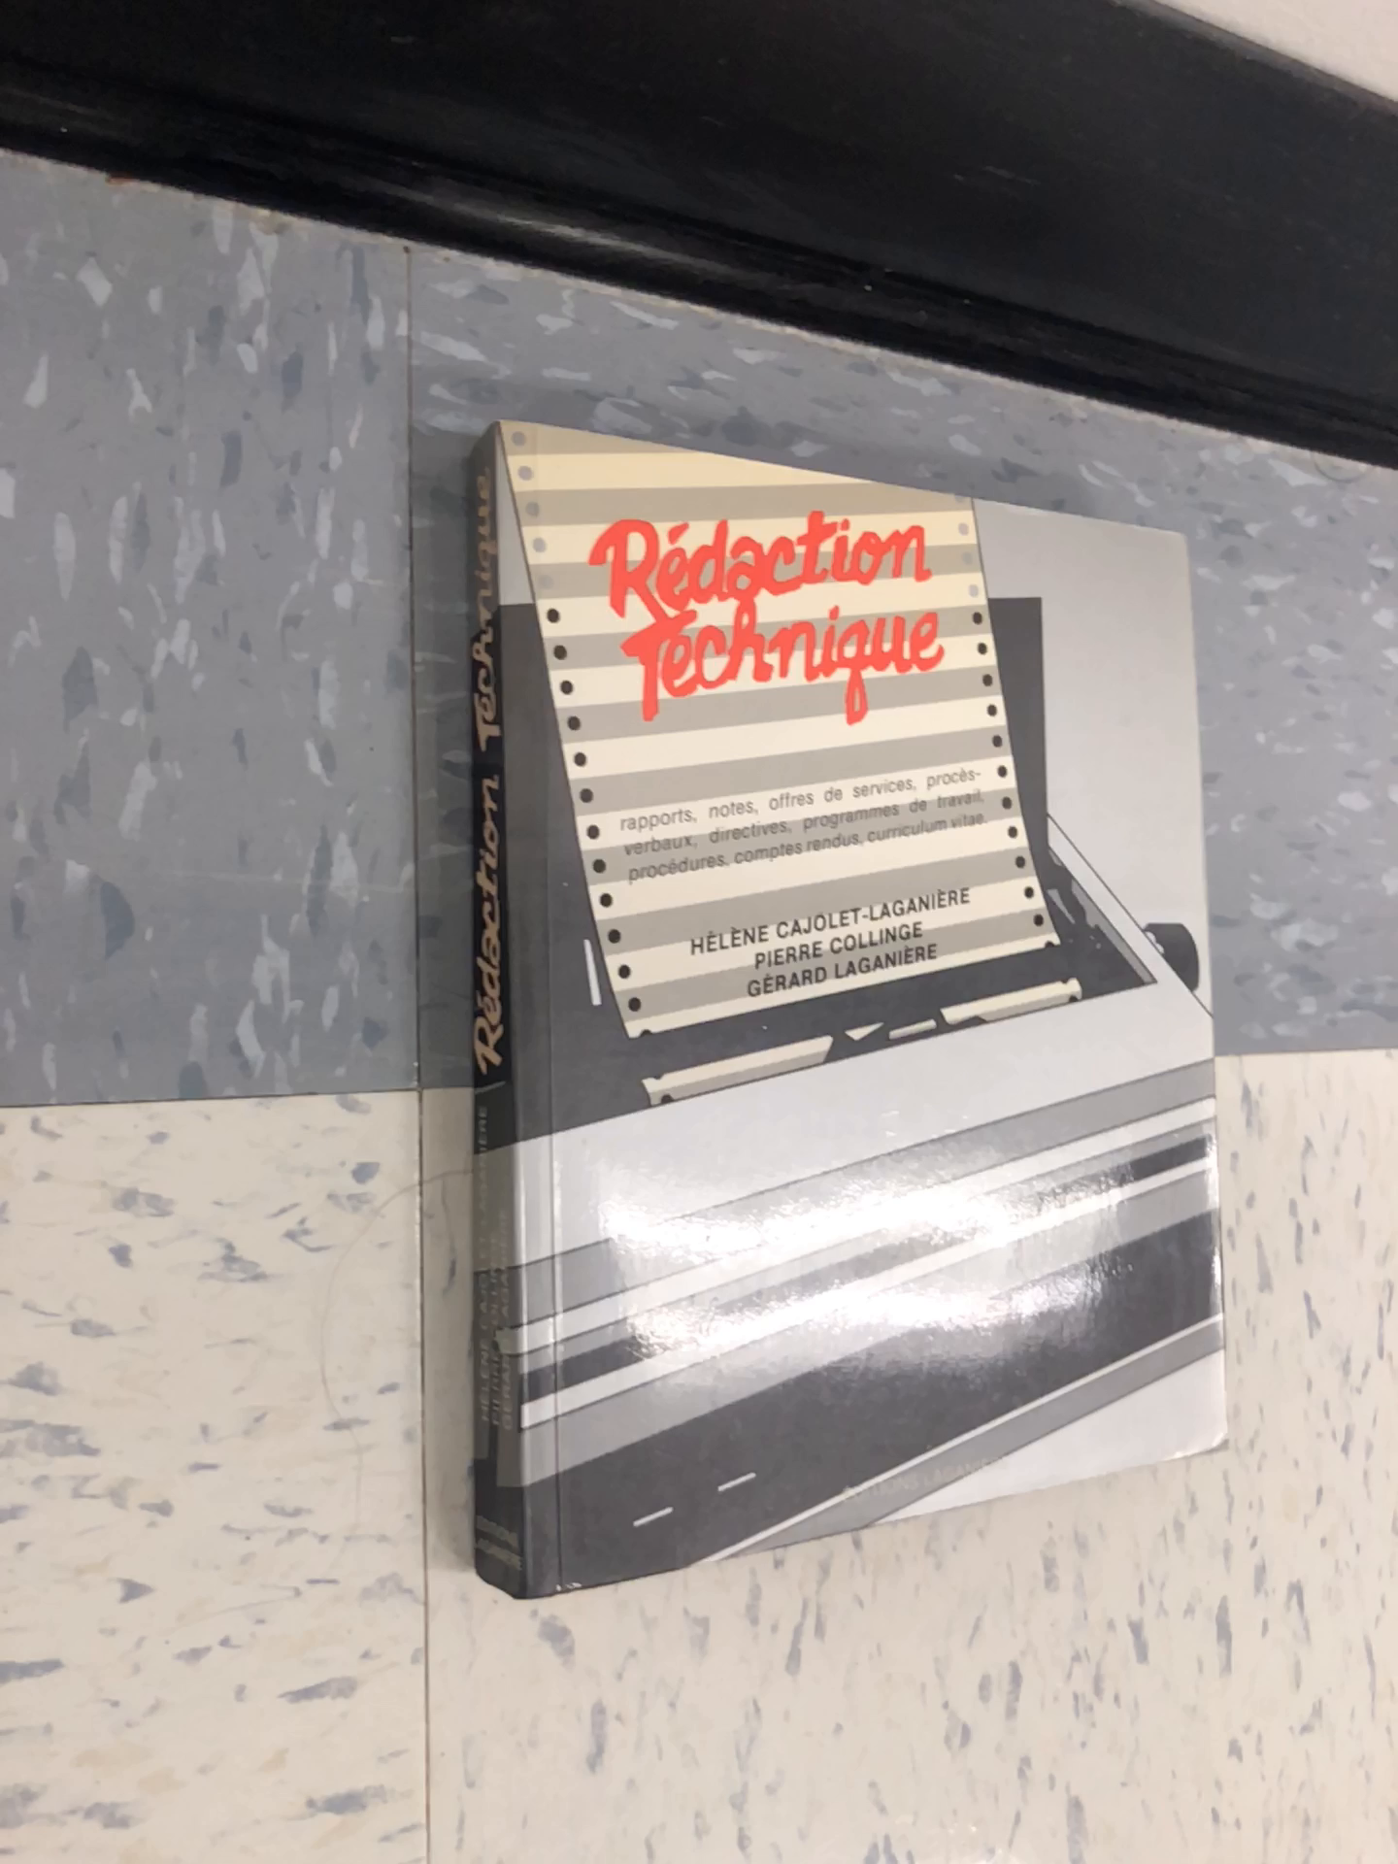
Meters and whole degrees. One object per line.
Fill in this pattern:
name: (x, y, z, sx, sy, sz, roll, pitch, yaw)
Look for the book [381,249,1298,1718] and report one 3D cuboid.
book: (0.032, 0.006, 0.292, 0.171, 0.040, 0.220, 0, 86, -29)
